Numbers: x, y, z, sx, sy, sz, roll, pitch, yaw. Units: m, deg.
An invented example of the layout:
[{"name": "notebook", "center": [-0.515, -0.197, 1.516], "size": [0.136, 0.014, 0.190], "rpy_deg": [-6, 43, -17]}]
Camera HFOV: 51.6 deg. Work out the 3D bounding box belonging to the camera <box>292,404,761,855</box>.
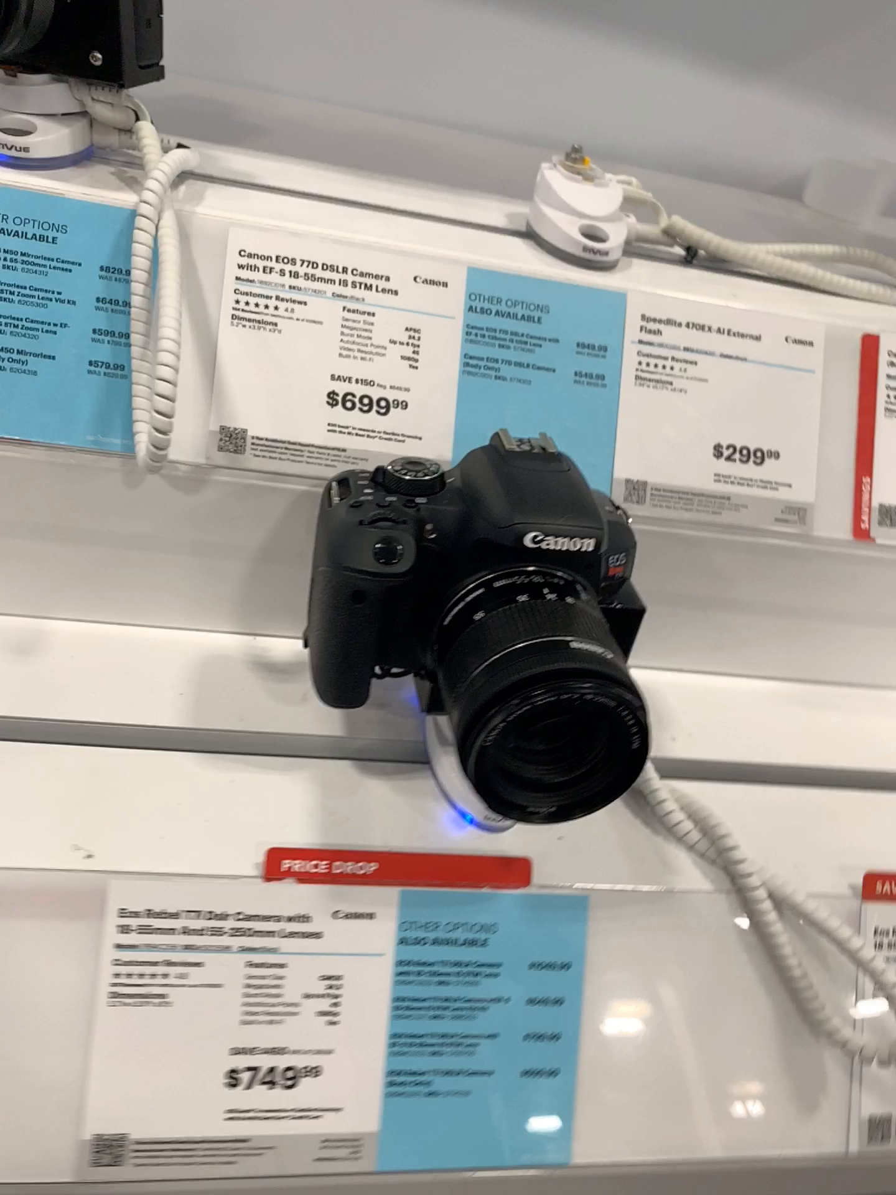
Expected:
[{"name": "camera", "center": [0.013, 0.007, 0.353], "size": [0.130, 0.099, 0.139], "rpy_deg": [2, 35, -14]}]
